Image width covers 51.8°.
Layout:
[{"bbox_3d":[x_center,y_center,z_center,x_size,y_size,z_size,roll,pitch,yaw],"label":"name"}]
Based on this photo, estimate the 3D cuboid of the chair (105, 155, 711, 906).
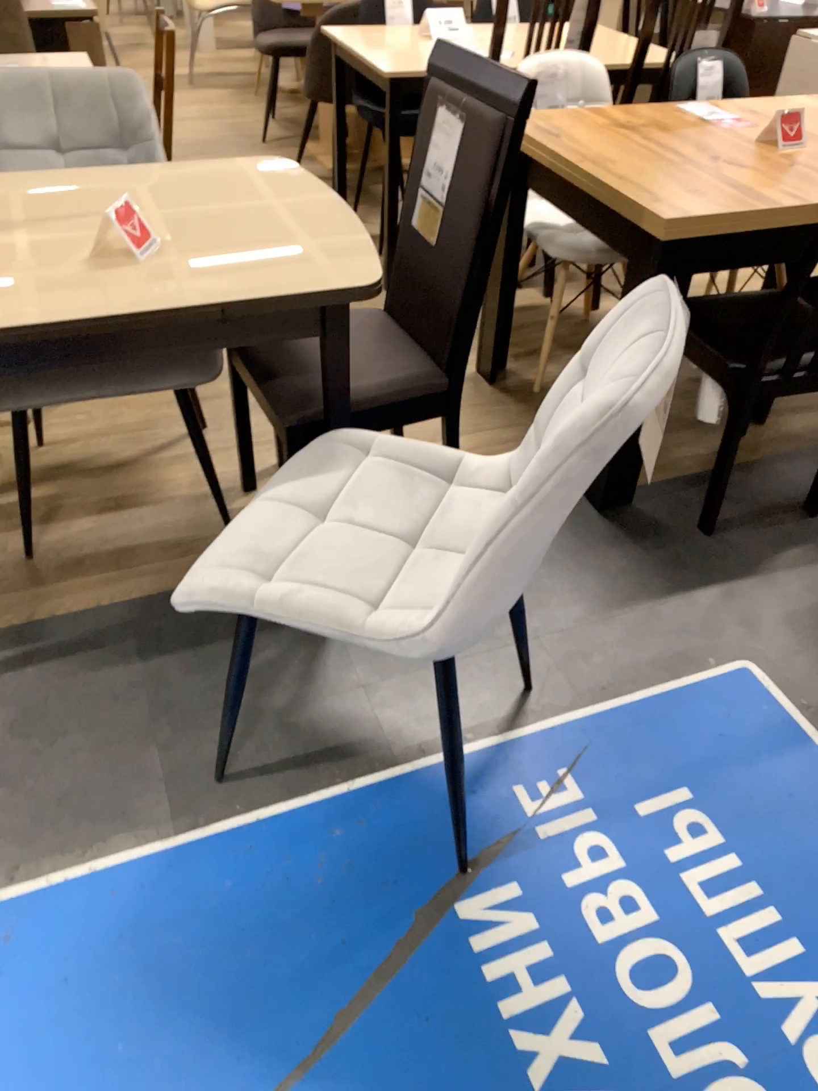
[{"bbox_3d":[0.015,0.006,1.336,0.600,0.975,0.482,16,42,15],"label":"chair"}]
